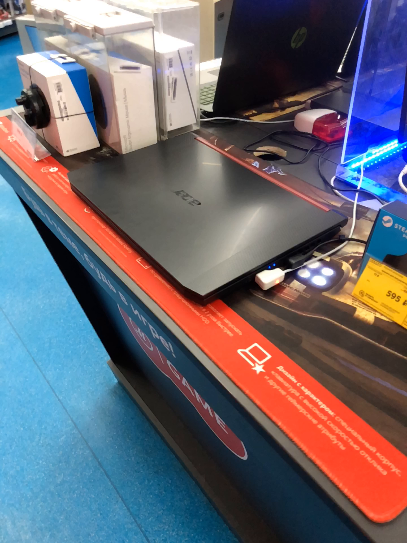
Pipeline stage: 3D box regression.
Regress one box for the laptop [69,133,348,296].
[{"bbox_3d":[-0.009,-0.113,0.657,0.243,0.005,0.351,-27,47,-27],"label":"laptop"}]
